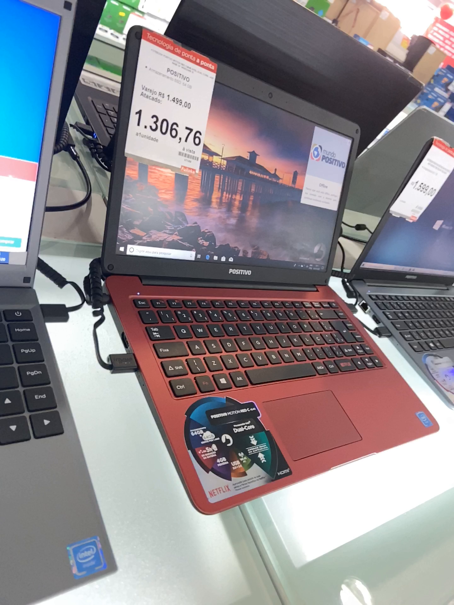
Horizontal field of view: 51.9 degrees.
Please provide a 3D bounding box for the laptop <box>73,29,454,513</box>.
[{"bbox_3d":[0.077,-0.044,0.442,0.322,0.167,0.333,2,45,-40],"label":"laptop"}]
